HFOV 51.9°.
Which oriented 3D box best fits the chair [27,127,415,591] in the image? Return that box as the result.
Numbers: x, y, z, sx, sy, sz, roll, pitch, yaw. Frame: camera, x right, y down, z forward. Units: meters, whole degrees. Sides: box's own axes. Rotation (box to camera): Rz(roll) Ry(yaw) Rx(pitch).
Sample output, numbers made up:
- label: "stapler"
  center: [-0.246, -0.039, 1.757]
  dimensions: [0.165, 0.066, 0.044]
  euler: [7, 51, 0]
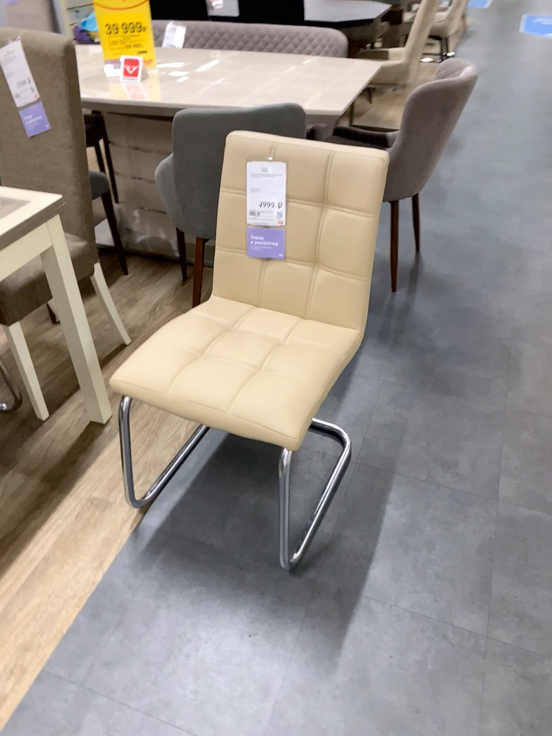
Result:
- label: "chair"
  center: [-0.055, -0.053, 1.395]
  dimensions: [0.530, 0.815, 0.653]
  euler: [15, 41, 21]
